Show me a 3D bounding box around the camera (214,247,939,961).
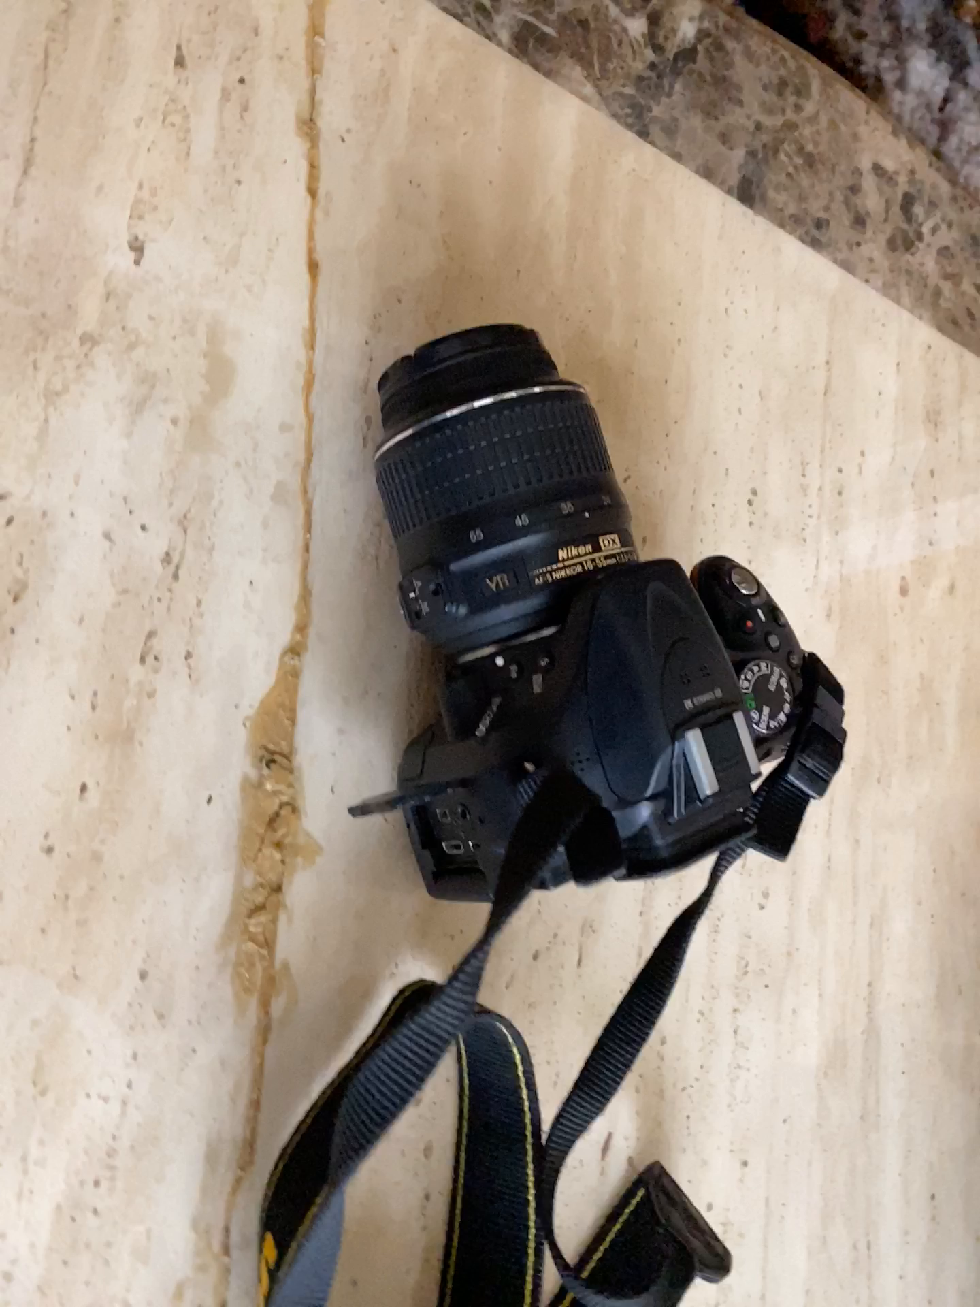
[{"bbox_3d":[0.027,-0.020,0.304,0.152,0.100,0.159,-17,91,-34],"label":"camera"}]
